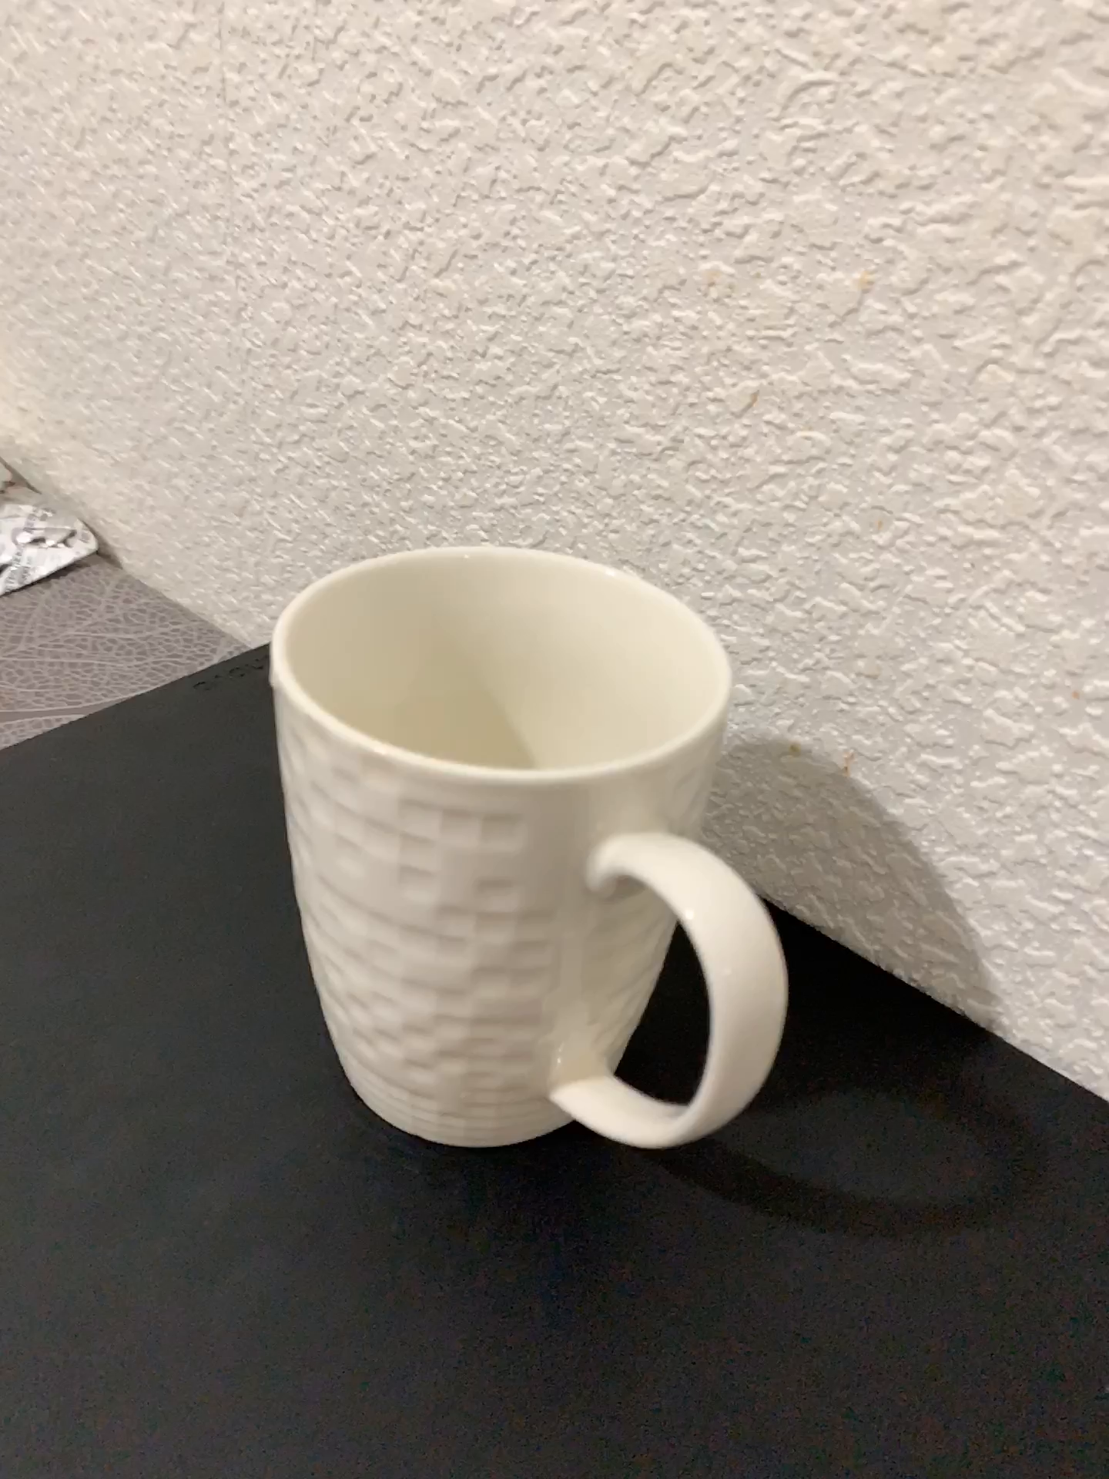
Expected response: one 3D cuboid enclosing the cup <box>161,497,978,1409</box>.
[{"bbox_3d":[-0.005,0.031,0.226,0.081,0.105,0.120,-24,44,-35],"label":"cup"}]
